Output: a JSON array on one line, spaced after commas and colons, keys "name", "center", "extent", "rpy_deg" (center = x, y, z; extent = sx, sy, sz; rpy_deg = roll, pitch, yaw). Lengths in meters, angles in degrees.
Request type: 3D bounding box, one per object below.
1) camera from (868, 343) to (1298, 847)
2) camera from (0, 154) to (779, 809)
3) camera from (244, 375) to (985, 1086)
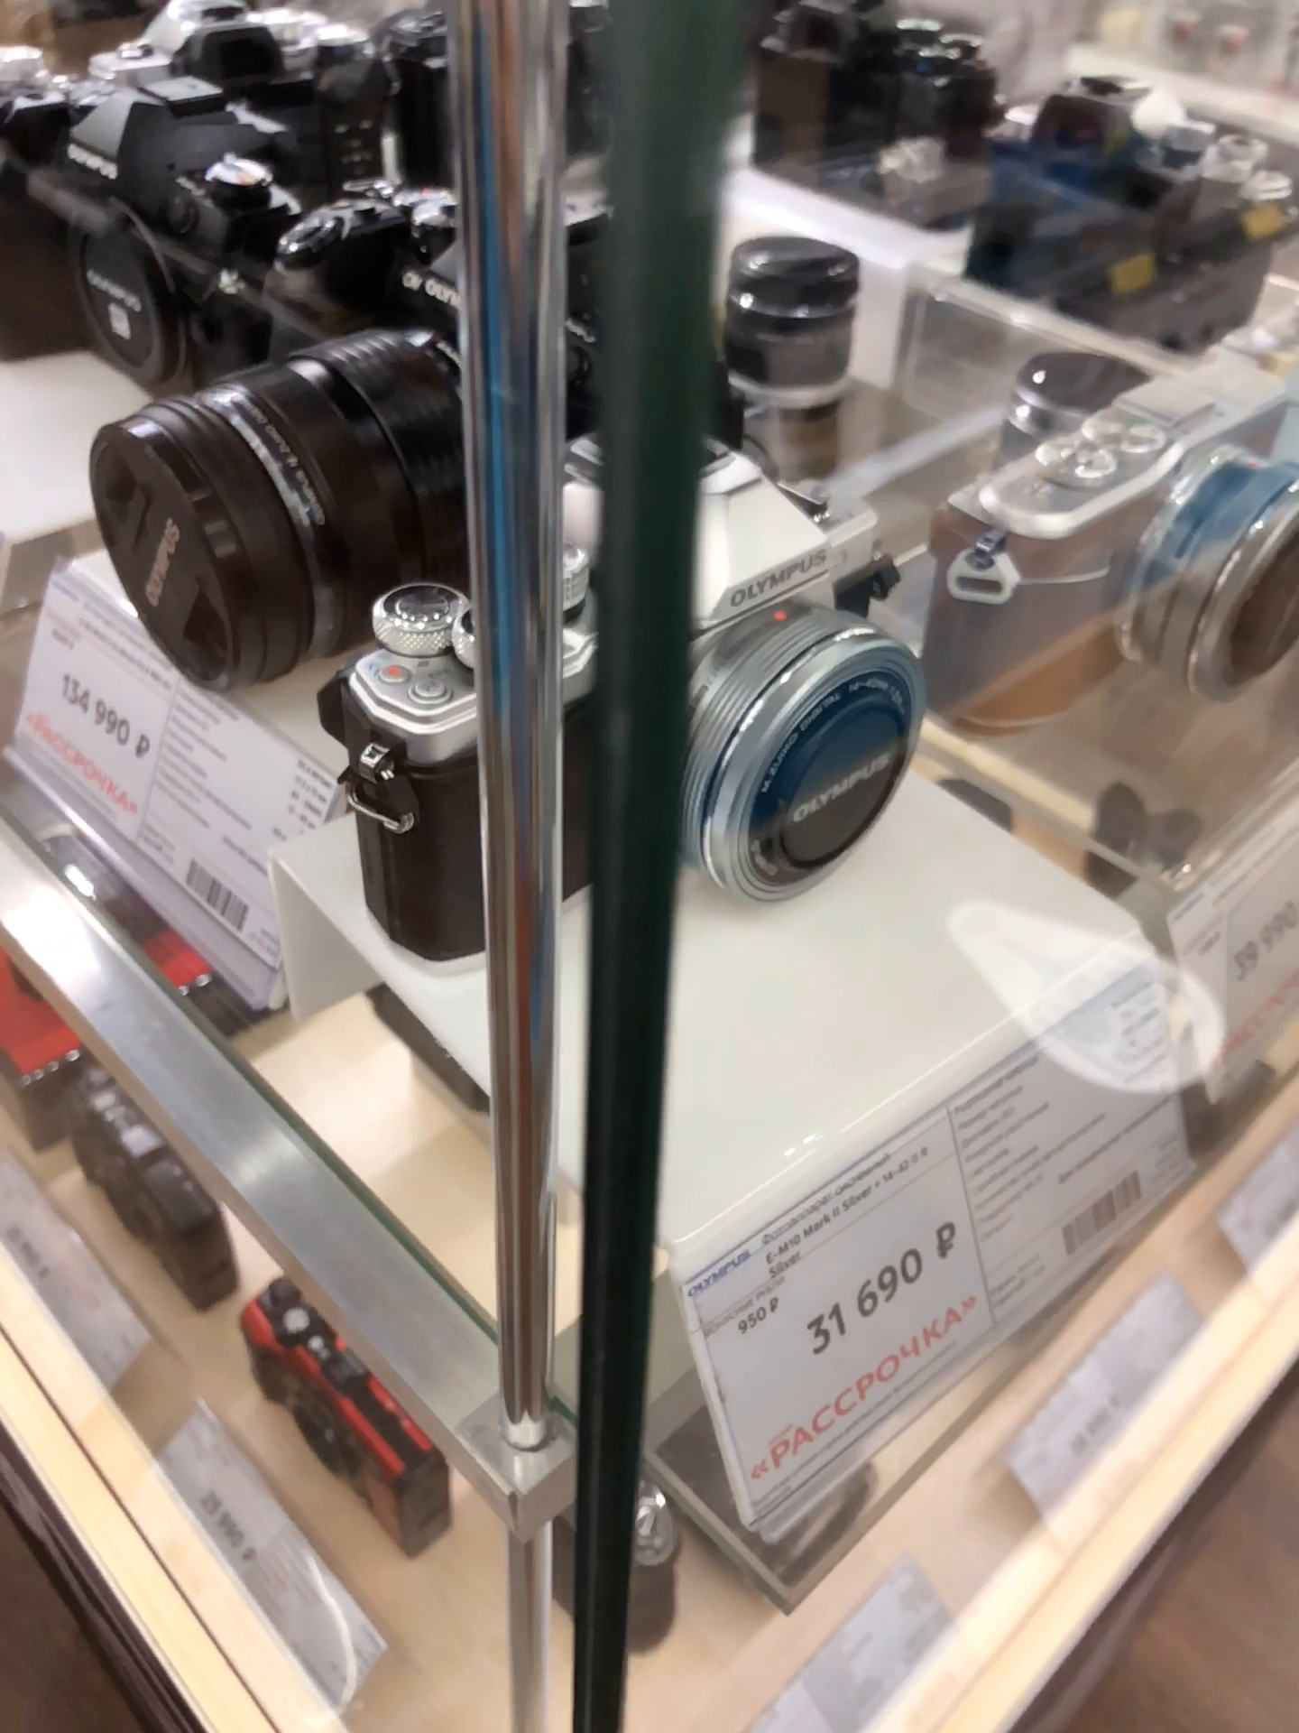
[{"name": "camera", "center": [0.129, -0.075, 0.367], "extent": [0.140, 0.062, 0.065], "rpy_deg": [-32, 52, -33]}, {"name": "camera", "center": [-0.057, -0.100, 0.348], "extent": [0.137, 0.087, 0.102], "rpy_deg": [-30, 51, -32]}, {"name": "camera", "center": [-0.005, -0.034, 0.293], "extent": [0.120, 0.080, 0.072], "rpy_deg": [-32, 52, -33]}]
